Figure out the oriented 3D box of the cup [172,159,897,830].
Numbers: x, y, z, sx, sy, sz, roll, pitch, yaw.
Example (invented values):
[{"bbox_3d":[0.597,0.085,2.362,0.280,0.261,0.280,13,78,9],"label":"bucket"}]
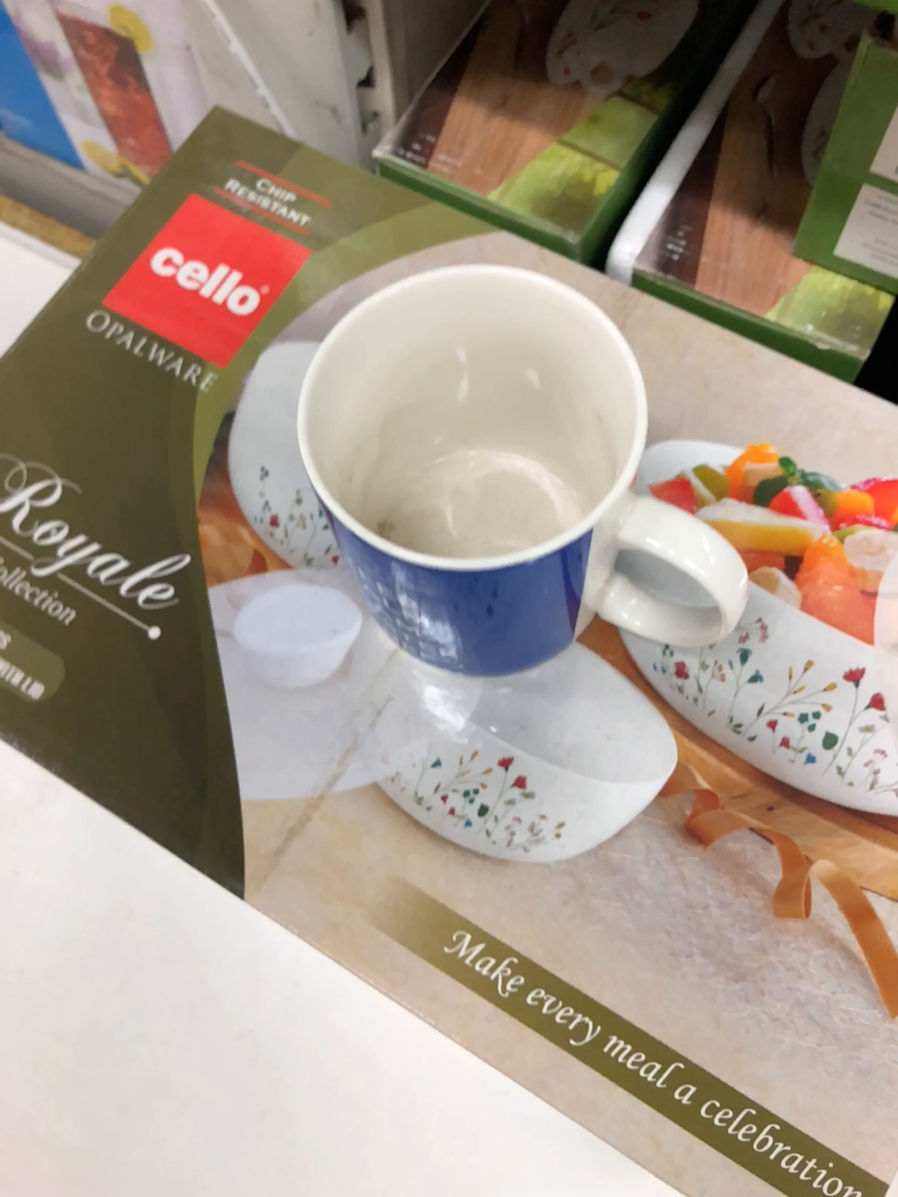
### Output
[{"bbox_3d":[0.024,-0.025,0.289,0.140,0.100,0.110,29,72,13],"label":"cup"}]
